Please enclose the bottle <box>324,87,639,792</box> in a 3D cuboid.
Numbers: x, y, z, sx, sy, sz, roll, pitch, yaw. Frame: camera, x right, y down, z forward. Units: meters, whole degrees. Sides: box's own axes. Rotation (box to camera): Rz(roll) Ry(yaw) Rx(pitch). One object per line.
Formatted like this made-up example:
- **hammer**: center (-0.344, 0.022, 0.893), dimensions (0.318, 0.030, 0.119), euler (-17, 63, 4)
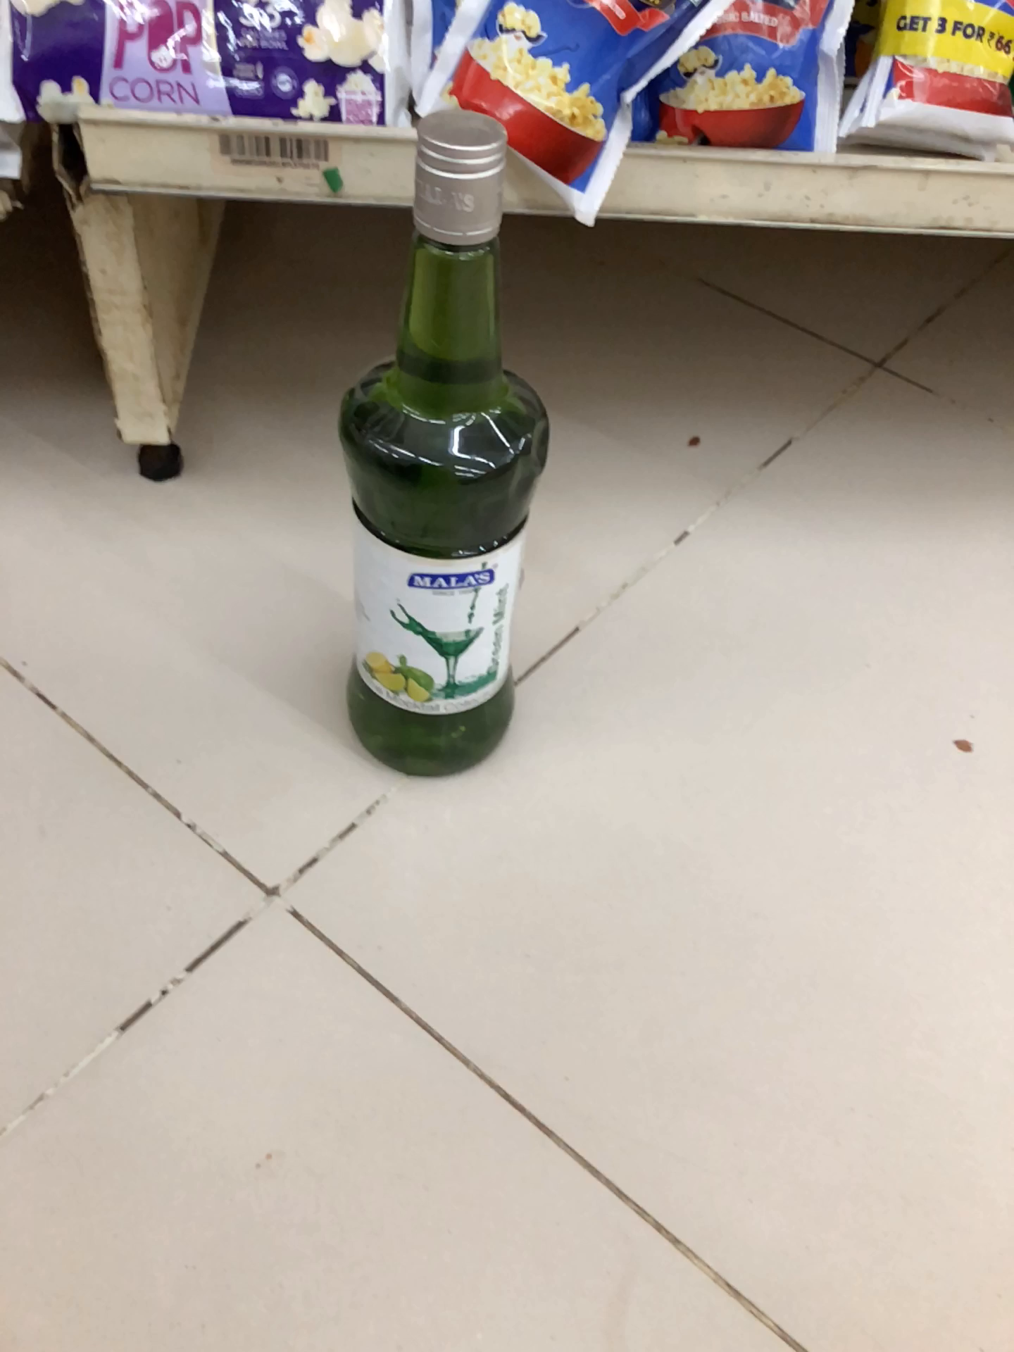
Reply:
- **bottle**: center (-0.021, -0.072, 0.454), dimensions (0.090, 0.278, 0.091), euler (3, 49, -3)
